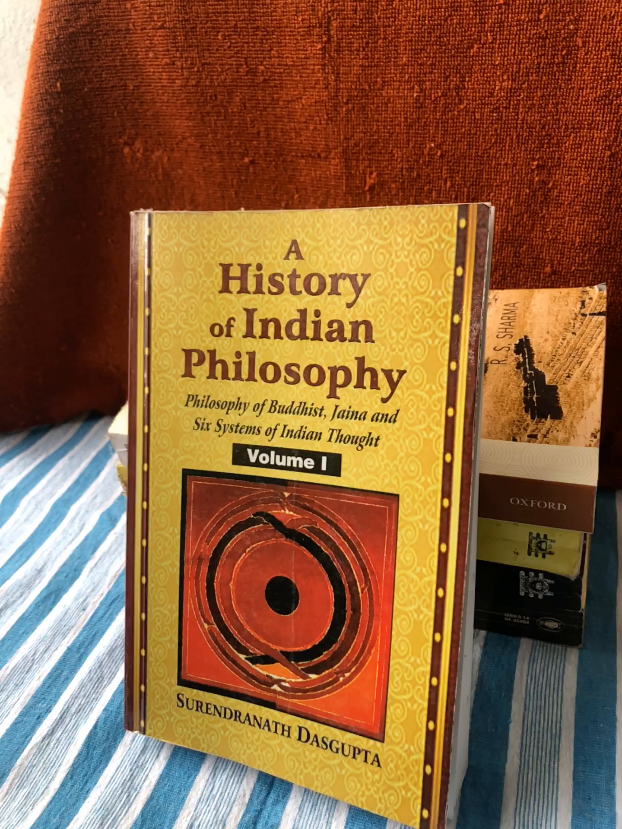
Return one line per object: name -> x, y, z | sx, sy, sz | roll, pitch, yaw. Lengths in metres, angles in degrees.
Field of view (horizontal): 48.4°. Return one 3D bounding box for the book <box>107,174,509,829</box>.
book -> -0.006, 0.028, 0.270 | 0.141, 0.216, 0.048 | 5, 5, 25
